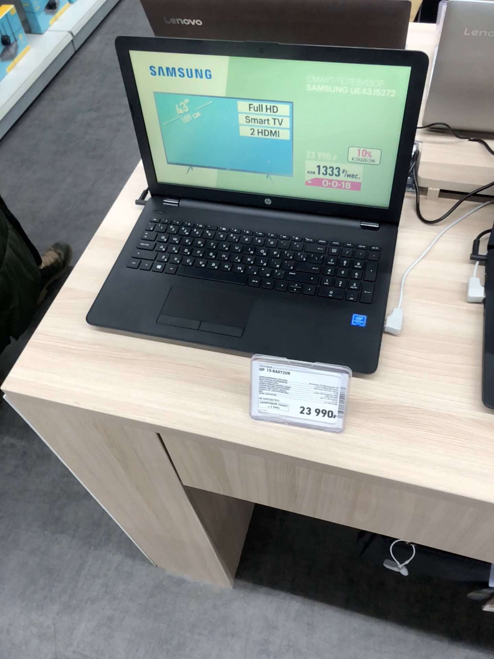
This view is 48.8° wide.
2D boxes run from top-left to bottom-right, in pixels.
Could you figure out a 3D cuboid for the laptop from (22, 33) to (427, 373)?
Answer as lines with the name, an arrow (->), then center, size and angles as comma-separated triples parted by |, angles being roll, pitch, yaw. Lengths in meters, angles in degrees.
laptop -> -0.004, -0.159, 0.650 | 0.362, 0.222, 0.274 | 10, 55, 12
